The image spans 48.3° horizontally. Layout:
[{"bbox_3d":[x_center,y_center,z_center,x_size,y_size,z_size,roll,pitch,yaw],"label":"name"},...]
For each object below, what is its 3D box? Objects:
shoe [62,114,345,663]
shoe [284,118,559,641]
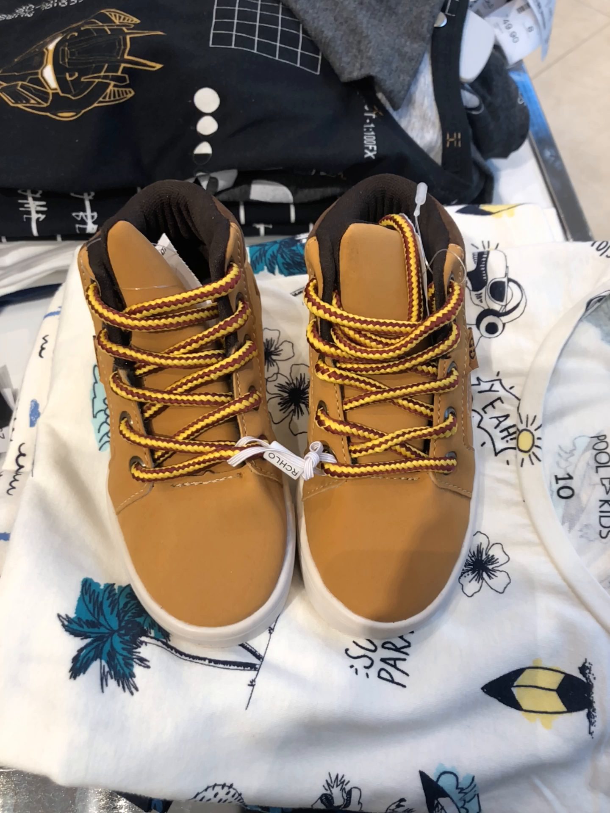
[{"bbox_3d":[-0.036,-0.006,0.246,0.070,0.090,0.171,-6,64,-3],"label":"shoe"},{"bbox_3d":[0.033,-0.010,0.253,0.070,0.090,0.171,2,62,1],"label":"shoe"}]
